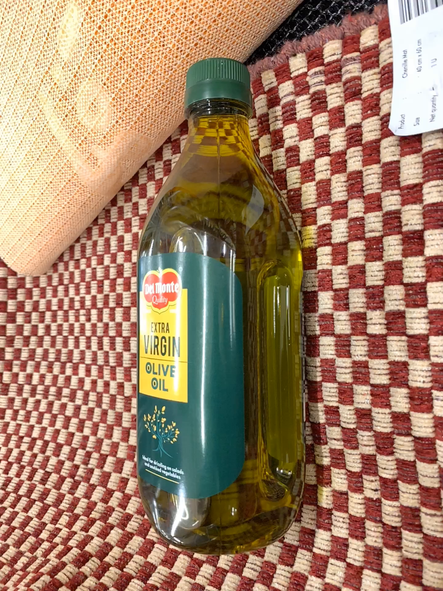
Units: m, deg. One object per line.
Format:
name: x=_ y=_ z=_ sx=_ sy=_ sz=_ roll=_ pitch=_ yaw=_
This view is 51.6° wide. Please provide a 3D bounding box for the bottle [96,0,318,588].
bottle: x=-0.006 y=-0.004 z=0.244 sx=0.080 sy=0.080 sz=0.250 roll=2 pitch=90 yaw=36
